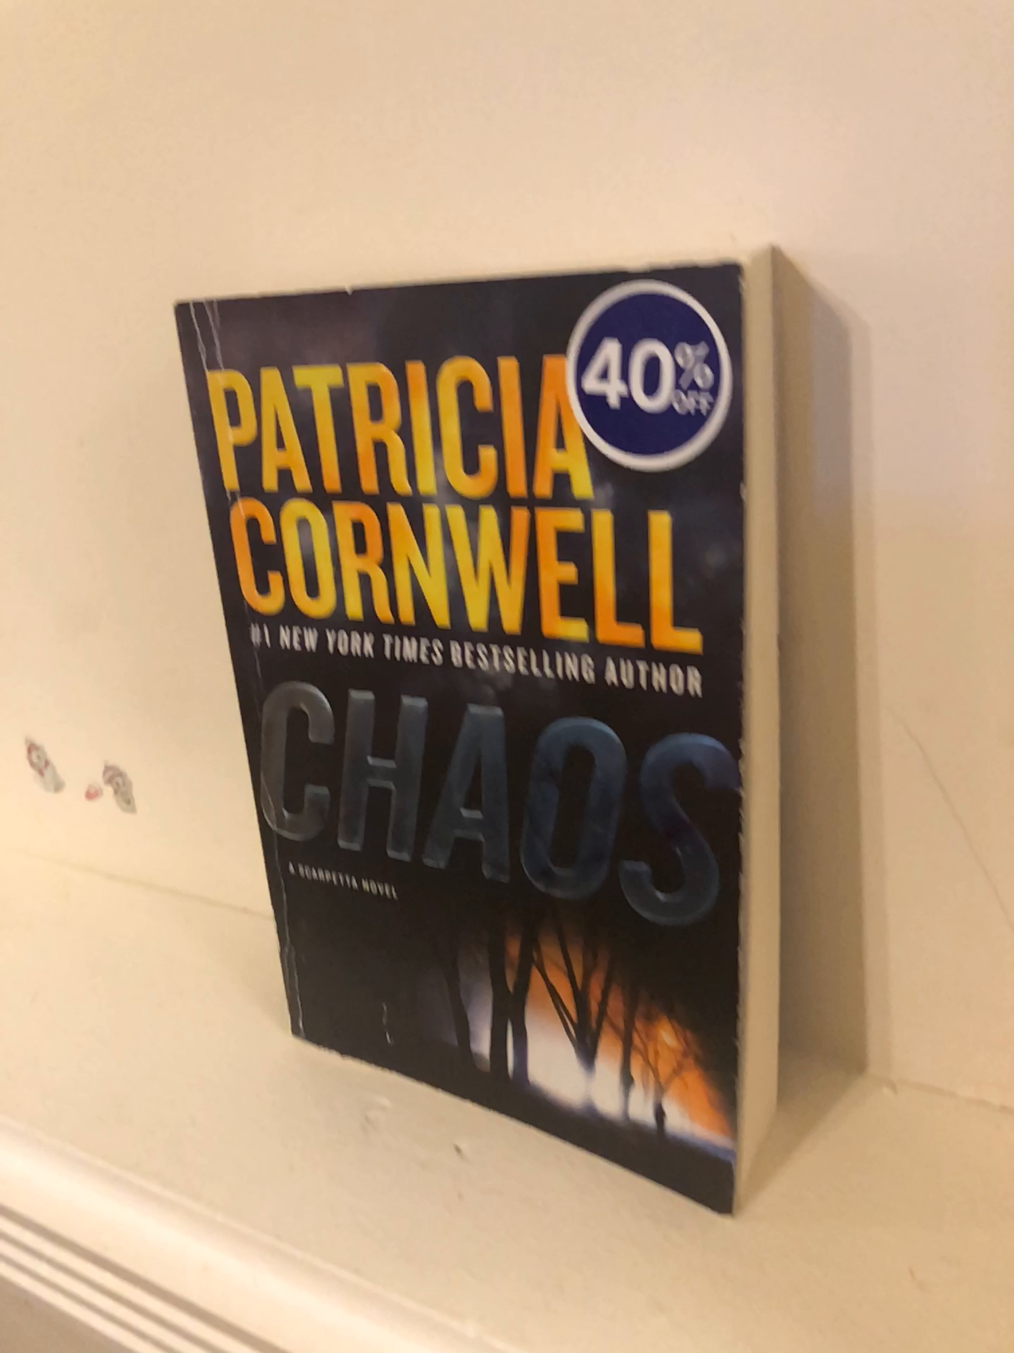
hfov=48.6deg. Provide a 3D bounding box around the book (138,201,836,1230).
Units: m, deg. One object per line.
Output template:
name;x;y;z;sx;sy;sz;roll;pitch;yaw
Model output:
book;-0.009;0.004;0.296;0.171;0.219;0.050;9;19;35
